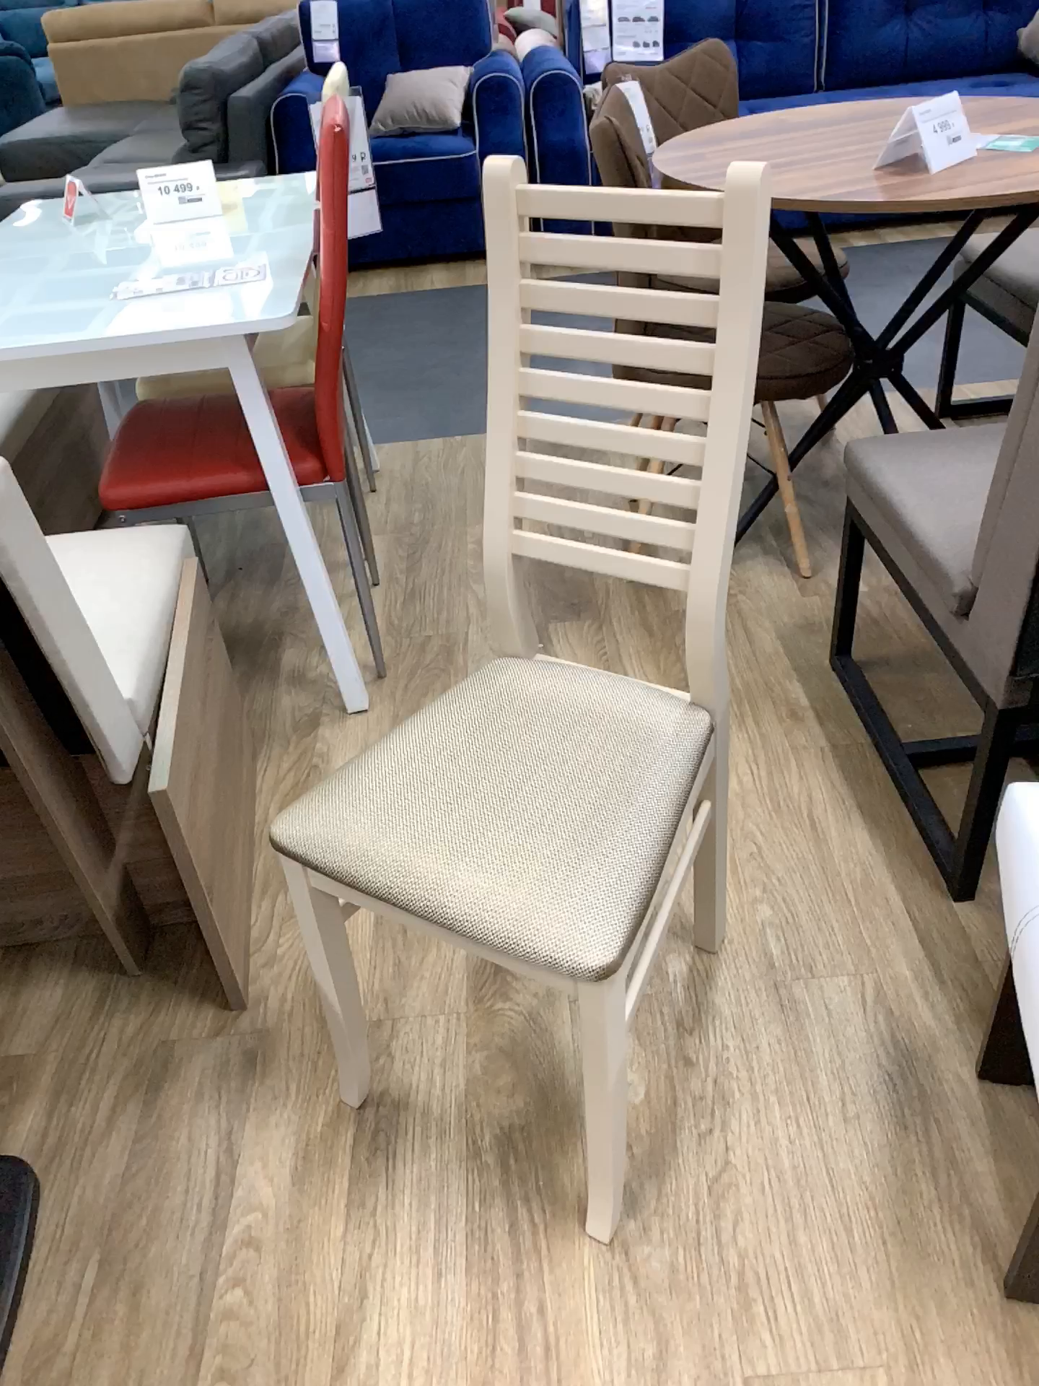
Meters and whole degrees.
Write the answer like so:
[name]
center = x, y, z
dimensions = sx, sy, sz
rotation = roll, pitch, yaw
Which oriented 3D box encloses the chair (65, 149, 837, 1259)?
[chair]
center = 0.012, 0.029, 1.086
dimensions = 0.390, 0.970, 0.475
rotation = 16, 41, 27
